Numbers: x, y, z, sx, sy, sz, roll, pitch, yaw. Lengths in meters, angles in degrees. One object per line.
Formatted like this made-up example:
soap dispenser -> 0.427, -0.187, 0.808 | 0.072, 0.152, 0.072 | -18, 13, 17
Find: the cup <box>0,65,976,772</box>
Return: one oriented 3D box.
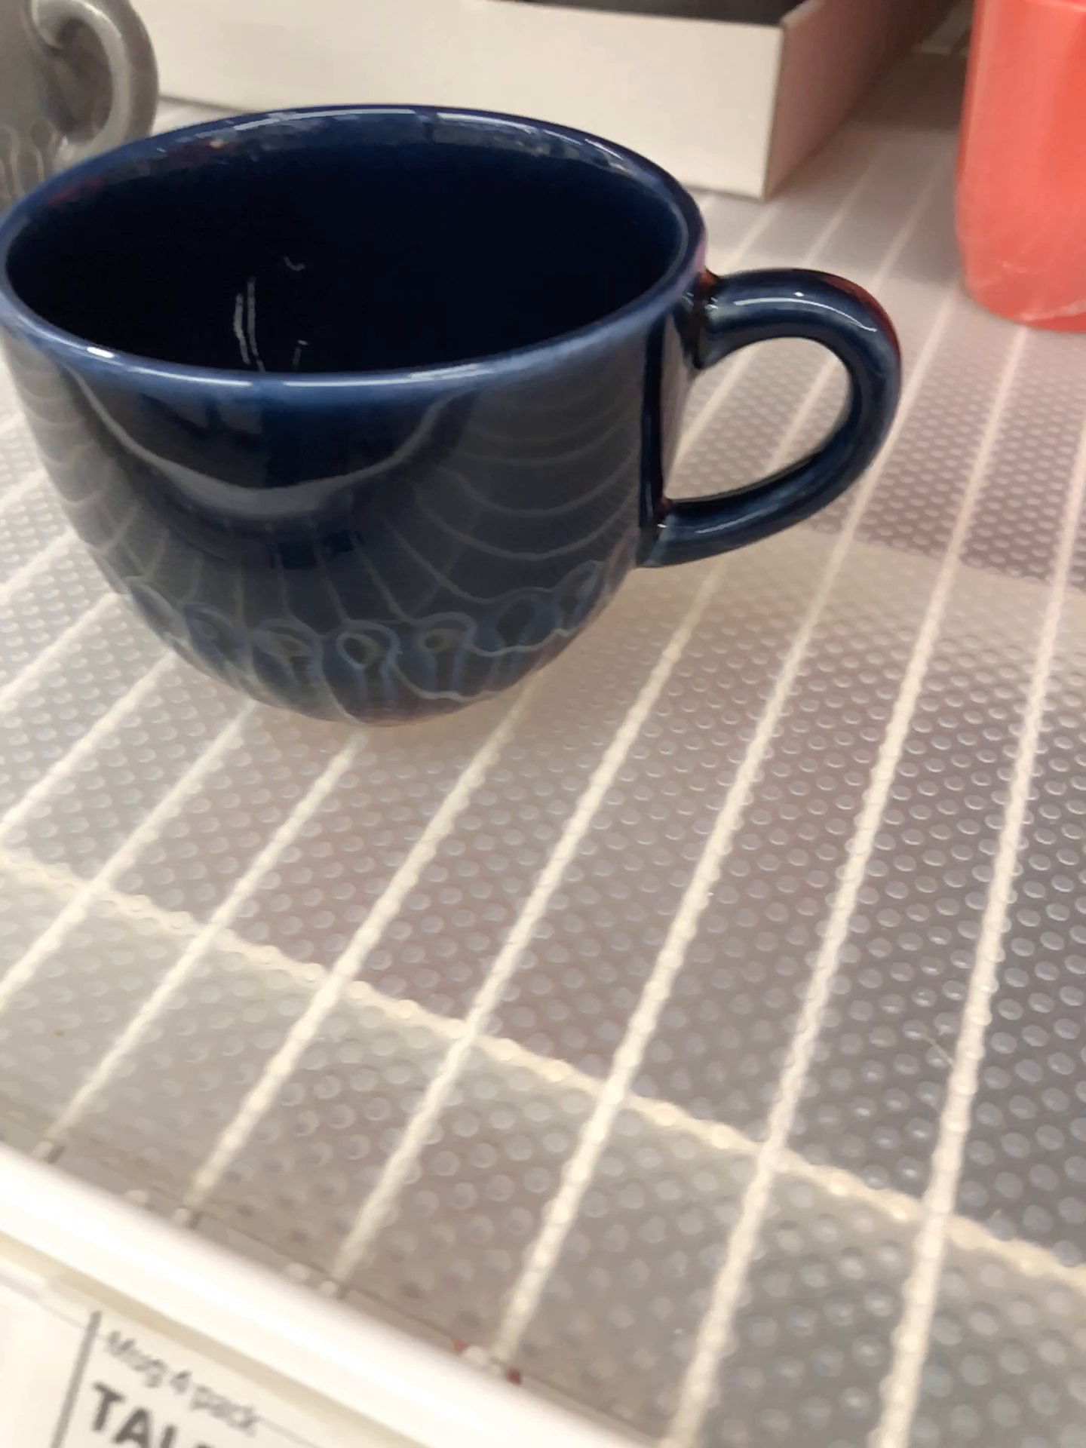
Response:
cup -> -0.015, -0.055, 0.194 | 0.130, 0.060, 0.110 | 3, 42, 2
